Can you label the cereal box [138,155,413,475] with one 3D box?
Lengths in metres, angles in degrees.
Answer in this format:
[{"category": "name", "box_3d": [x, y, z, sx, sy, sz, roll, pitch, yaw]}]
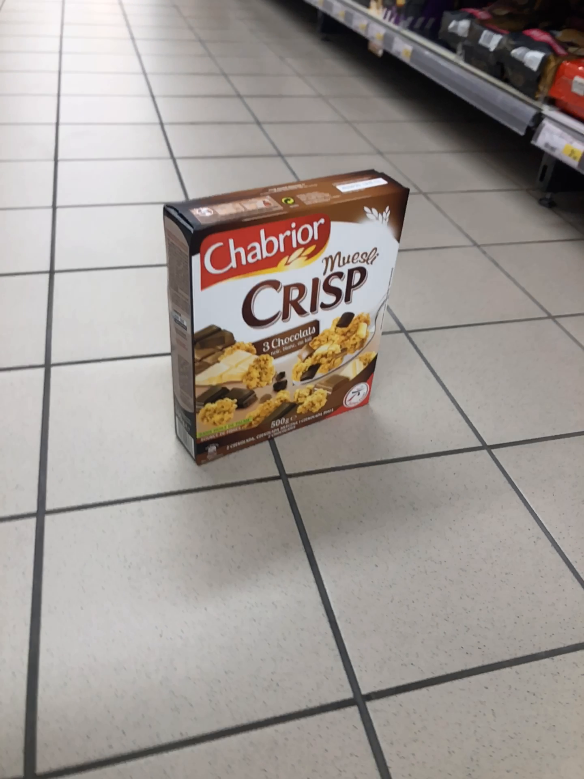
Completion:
[{"category": "cereal box", "box_3d": [-0.015, -0.062, 0.544, 0.201, 0.229, 0.060, -18, 43, -27]}]
